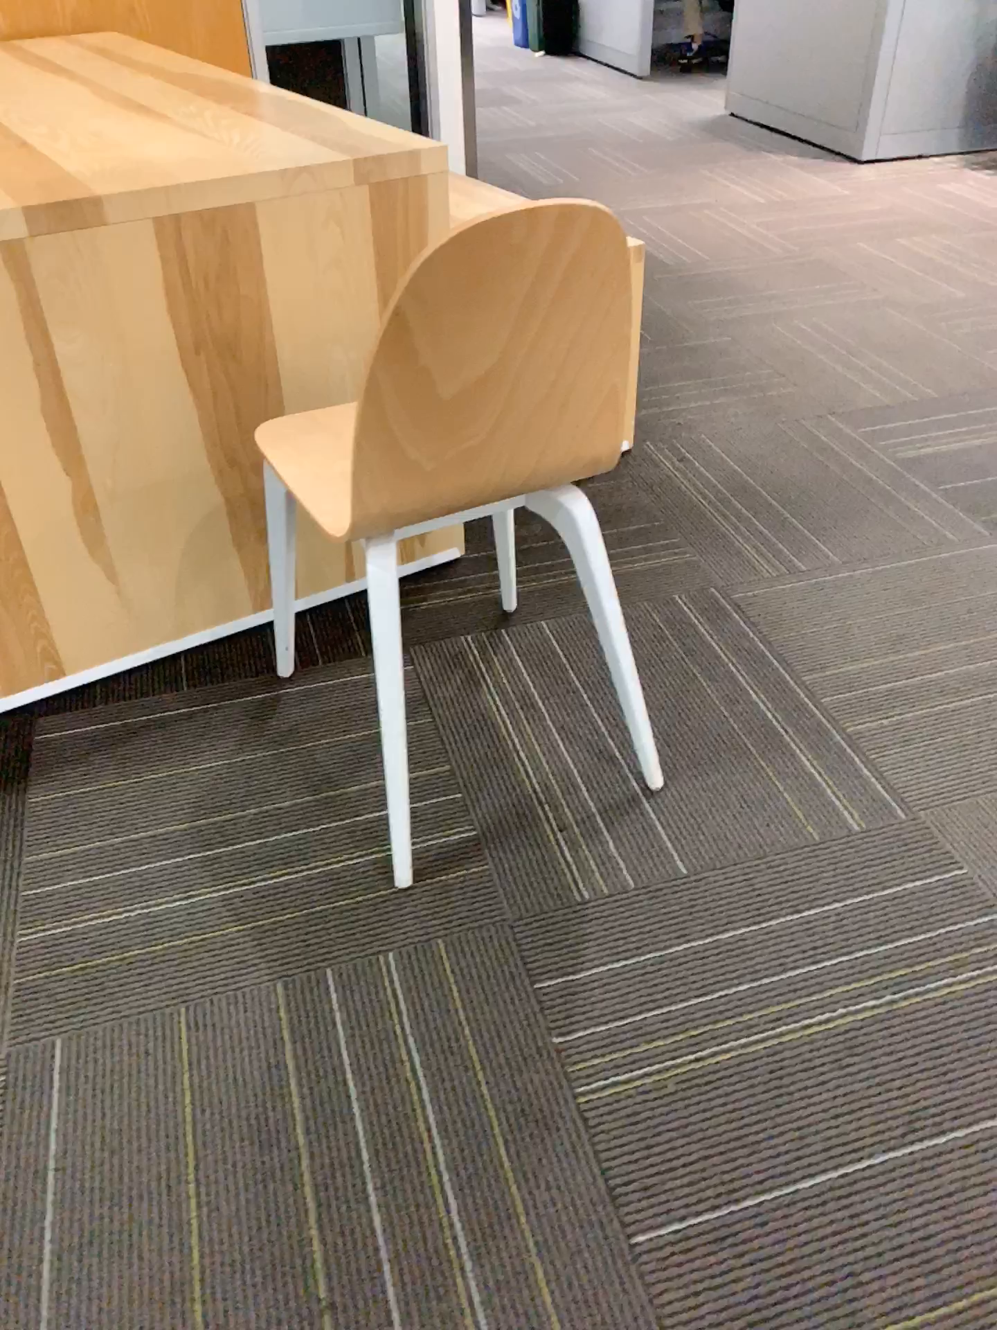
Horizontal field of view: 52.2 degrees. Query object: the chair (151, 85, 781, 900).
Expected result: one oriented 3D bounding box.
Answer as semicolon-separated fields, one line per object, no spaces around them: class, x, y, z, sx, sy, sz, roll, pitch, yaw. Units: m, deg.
chair;-0.066;-0.246;1.349;0.480;0.805;0.583;-18;41;-20
